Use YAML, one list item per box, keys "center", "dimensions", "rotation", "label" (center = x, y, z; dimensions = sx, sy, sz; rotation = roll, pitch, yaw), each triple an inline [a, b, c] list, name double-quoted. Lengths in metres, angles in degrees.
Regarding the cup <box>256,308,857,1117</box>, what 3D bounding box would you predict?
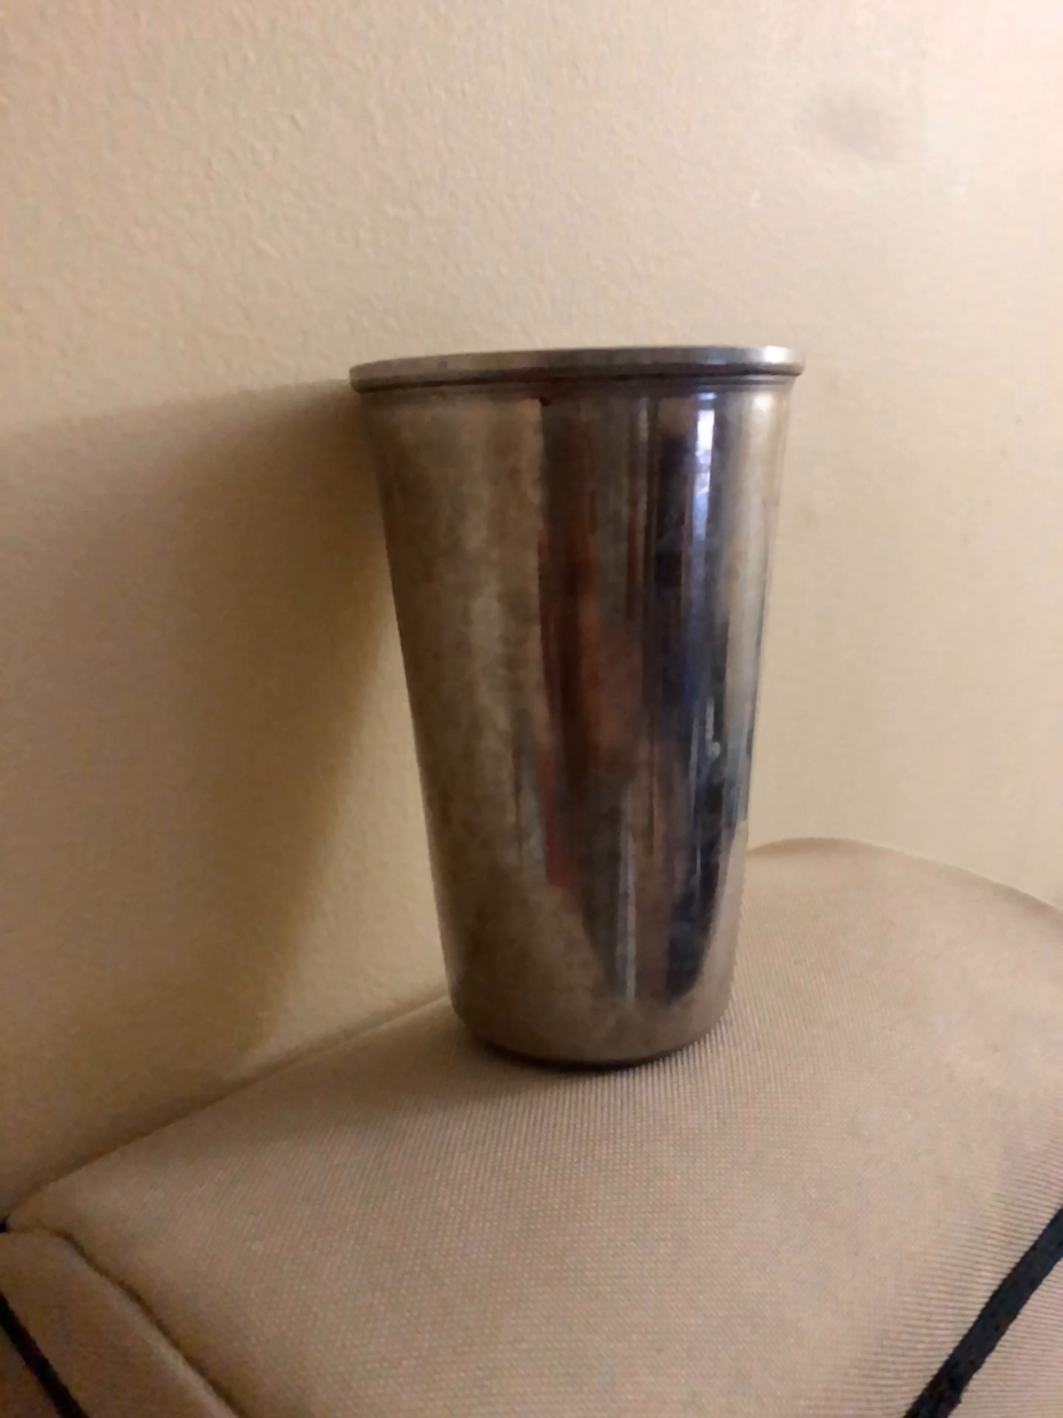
- center: [0.007, -0.006, 0.215]
  dimensions: [0.073, 0.113, 0.074]
  rotation: [-3, 11, 1]
  label: "cup"
